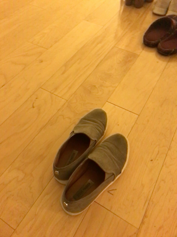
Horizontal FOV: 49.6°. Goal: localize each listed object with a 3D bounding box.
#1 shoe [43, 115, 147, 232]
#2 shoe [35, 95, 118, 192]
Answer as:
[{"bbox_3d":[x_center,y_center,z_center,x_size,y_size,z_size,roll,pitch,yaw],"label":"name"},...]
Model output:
[{"bbox_3d":[0.029,0.132,0.522,0.110,0.080,0.291,34,60,22],"label":"shoe"},{"bbox_3d":[-0.022,0.059,0.565,0.100,0.070,0.271,26,58,18],"label":"shoe"}]
